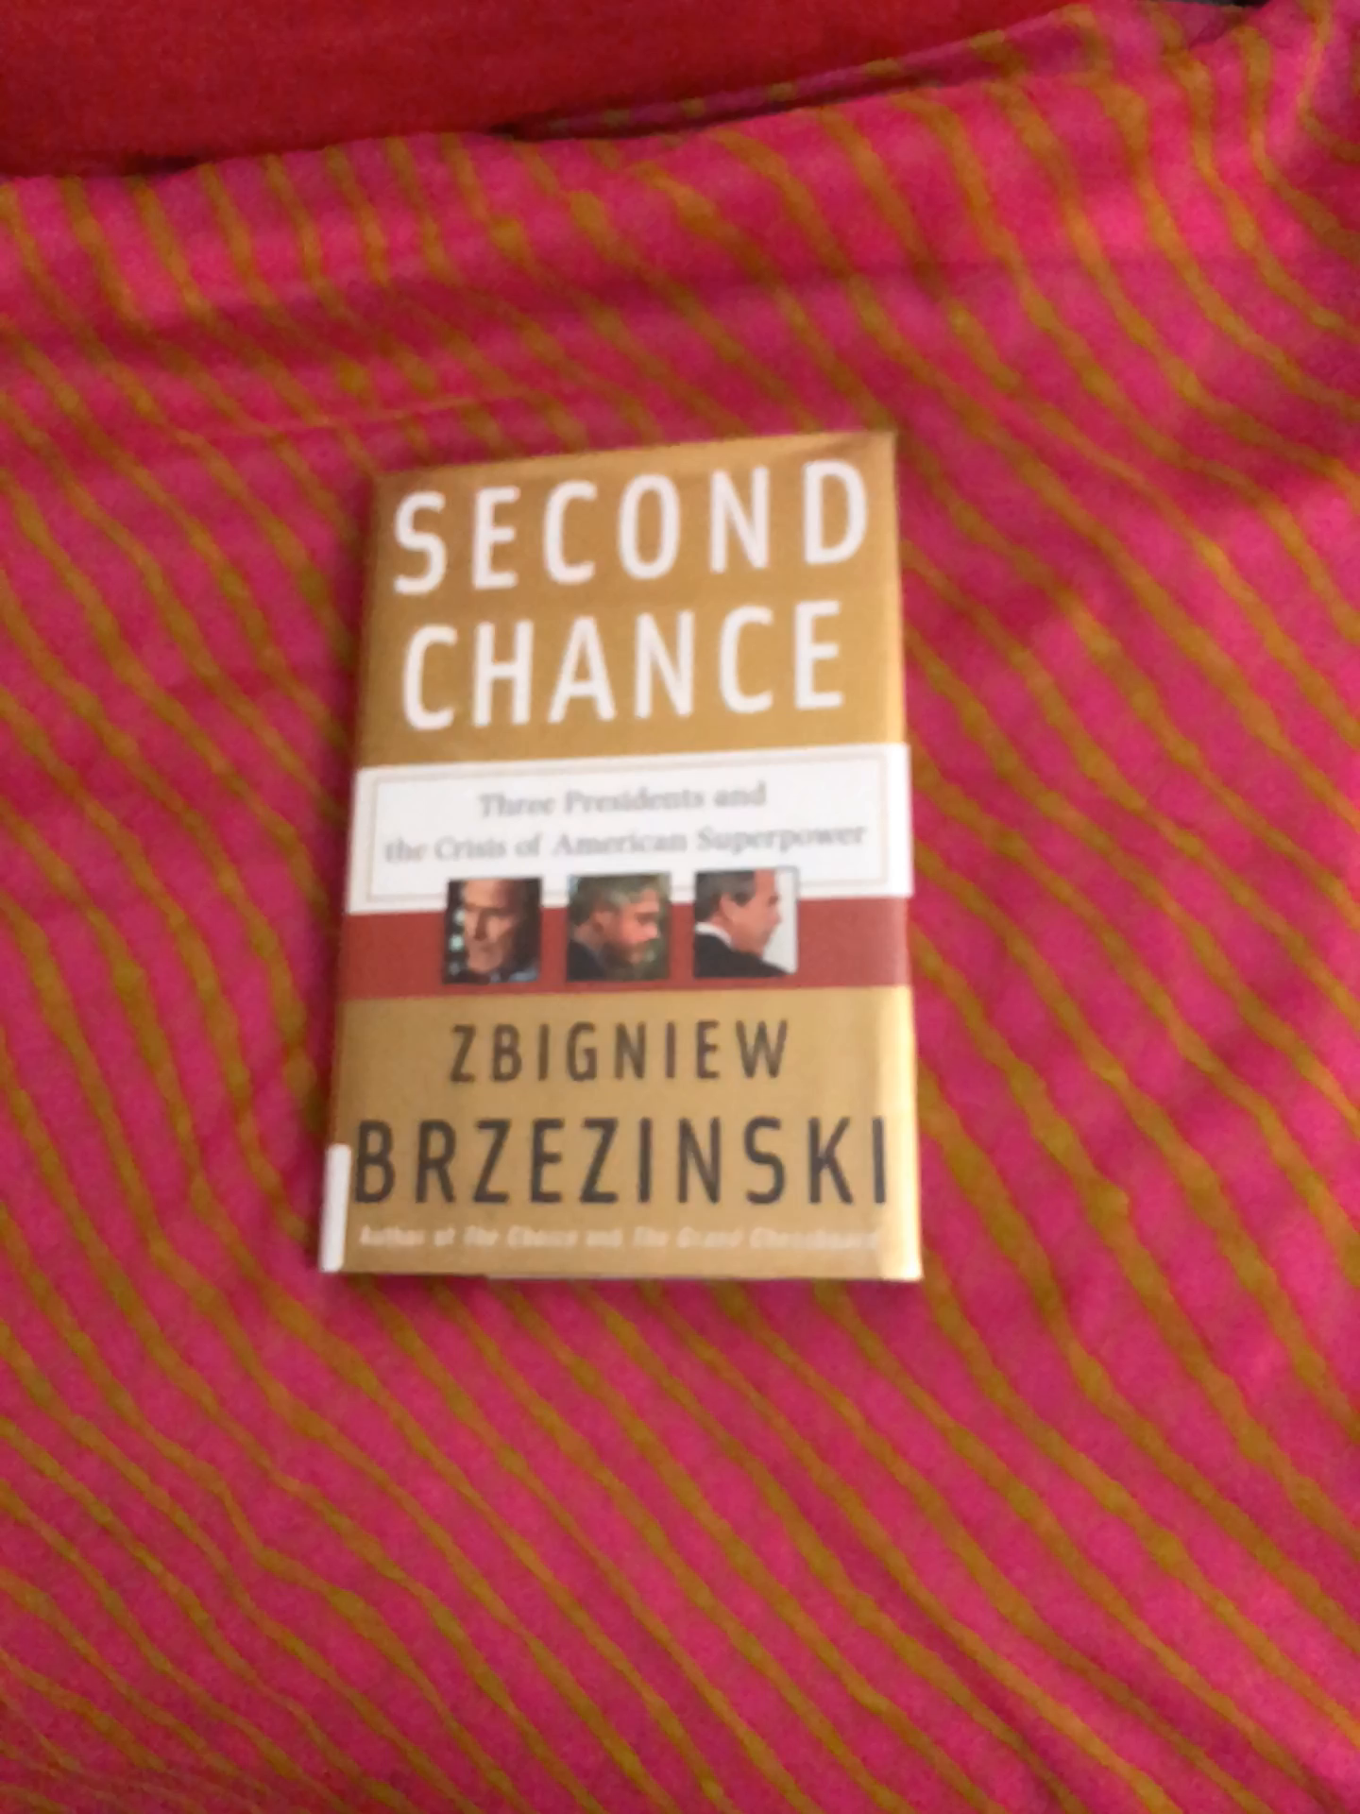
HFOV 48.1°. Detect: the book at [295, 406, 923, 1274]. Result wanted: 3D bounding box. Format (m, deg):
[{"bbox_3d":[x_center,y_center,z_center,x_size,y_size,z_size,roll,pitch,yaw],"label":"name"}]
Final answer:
[{"bbox_3d":[-0.015,-0.014,0.374,0.140,0.037,0.200,-3,77,15],"label":"book"}]
